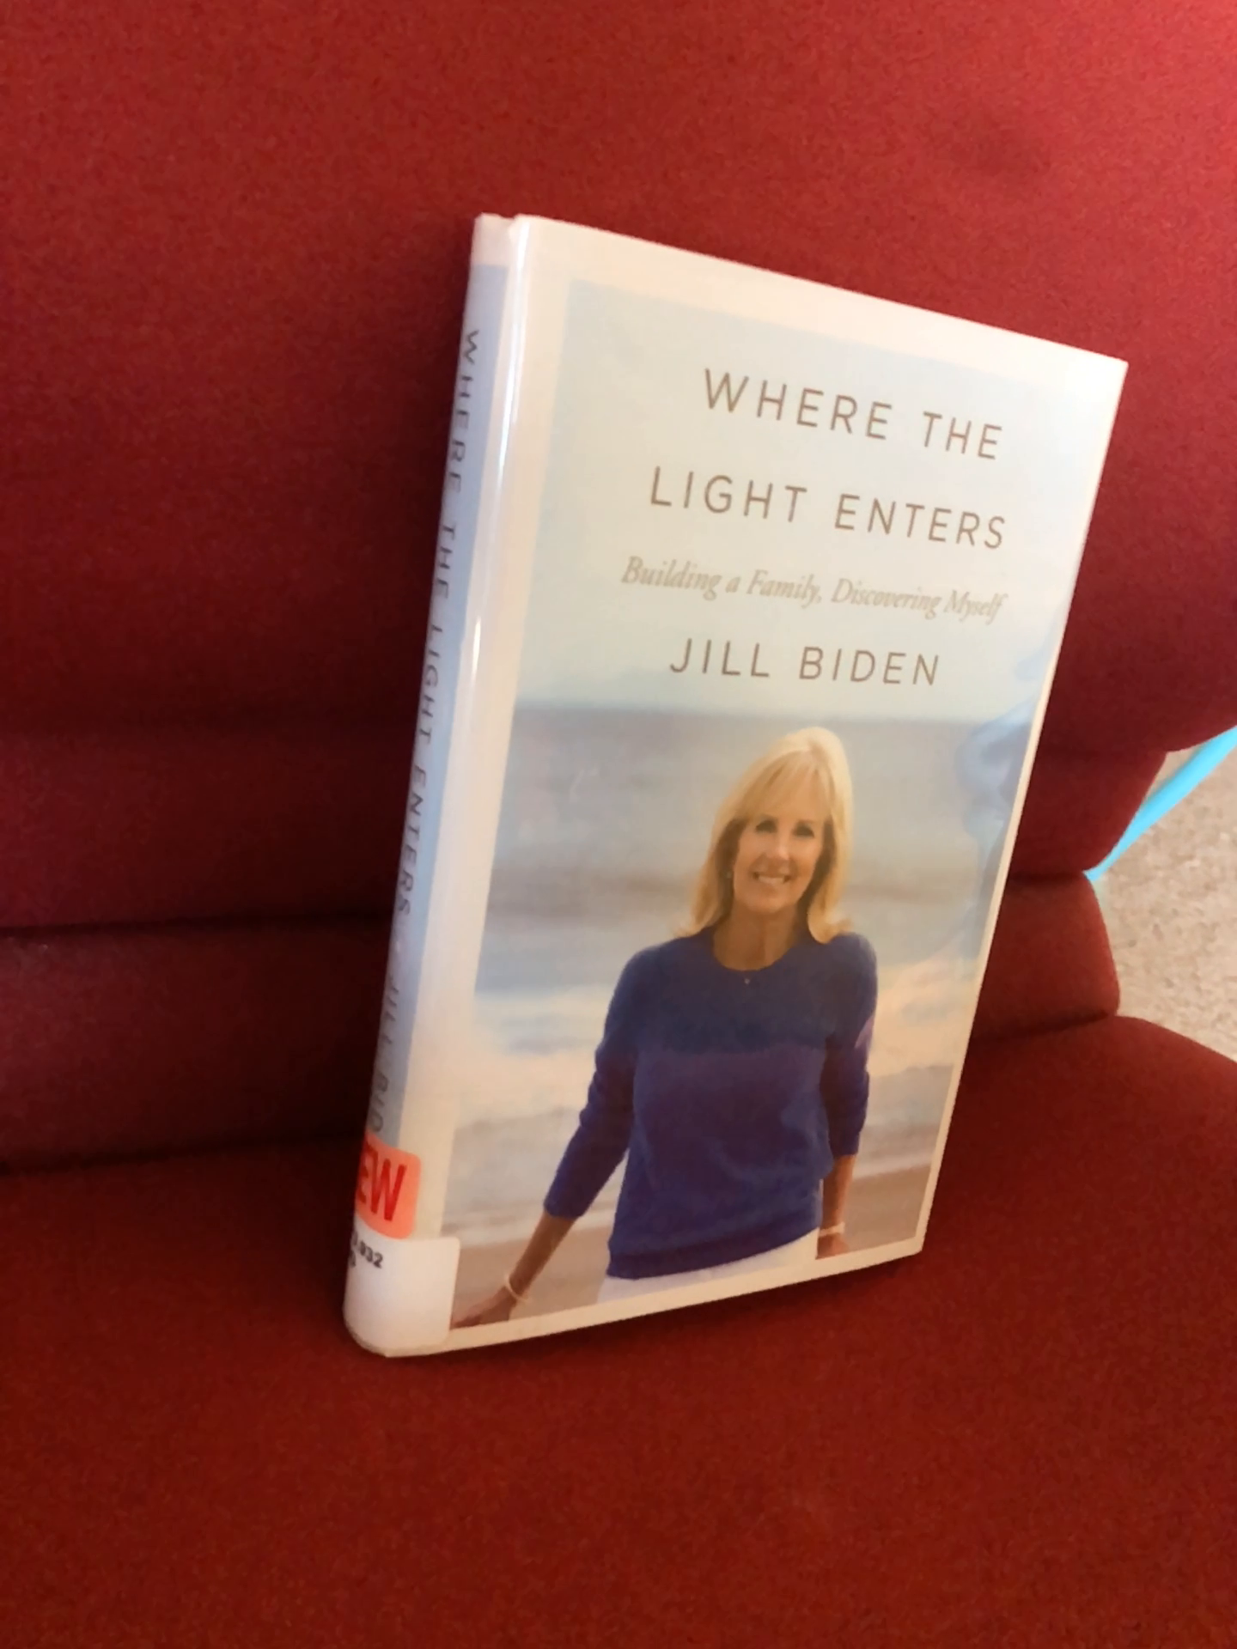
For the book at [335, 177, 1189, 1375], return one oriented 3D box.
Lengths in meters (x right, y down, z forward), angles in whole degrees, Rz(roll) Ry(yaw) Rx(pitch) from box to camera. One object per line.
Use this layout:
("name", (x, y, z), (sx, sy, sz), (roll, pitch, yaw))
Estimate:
("book", (0.030, -0.001, 0.282), (0.150, 0.210, 0.030), (0, 17, -31))
